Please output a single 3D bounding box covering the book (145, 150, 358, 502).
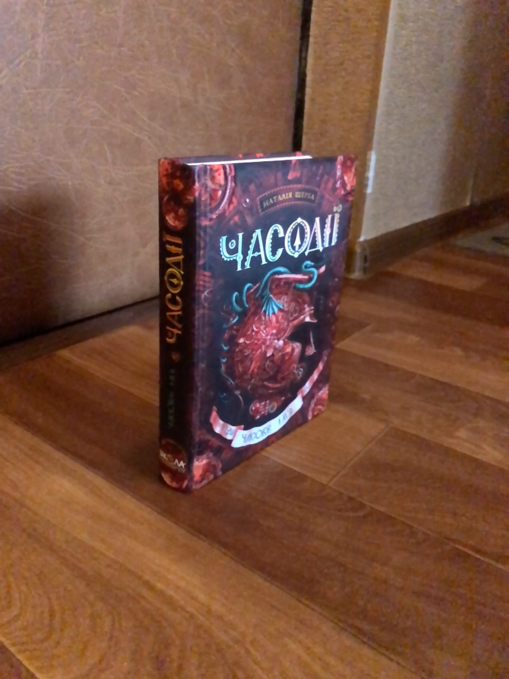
[{"bbox_3d":[0.001,-0.020,0.413,0.040,0.220,0.171,20,28,36],"label":"book"}]
